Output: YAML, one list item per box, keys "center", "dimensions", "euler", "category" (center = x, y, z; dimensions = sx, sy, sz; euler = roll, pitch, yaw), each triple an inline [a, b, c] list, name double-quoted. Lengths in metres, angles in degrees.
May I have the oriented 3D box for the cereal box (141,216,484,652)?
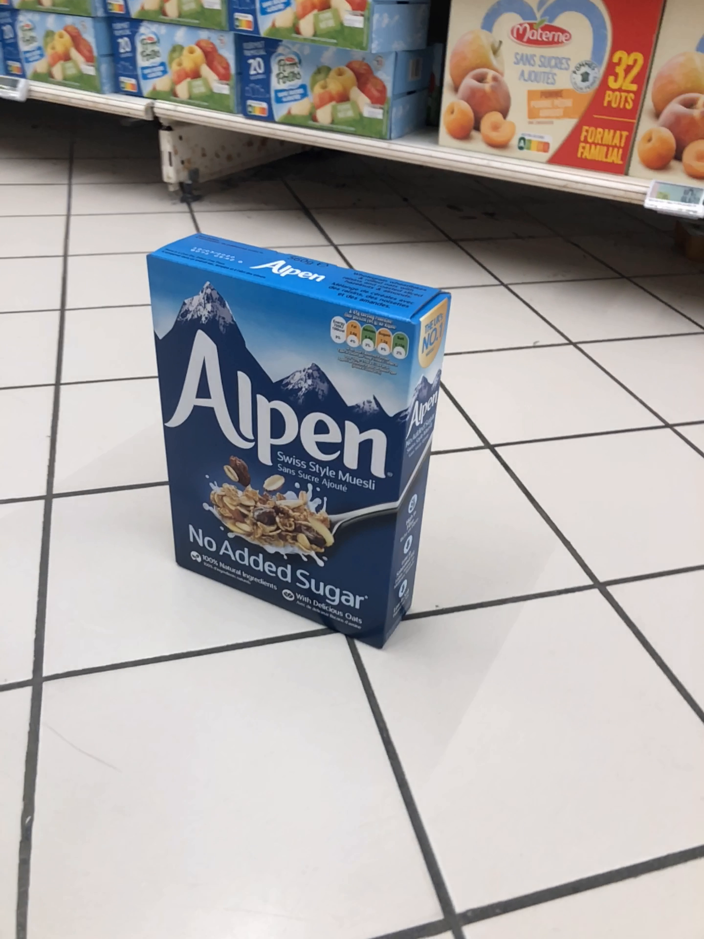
- center: [-0.029, -0.020, 0.483]
  dimensions: [0.180, 0.229, 0.060]
  euler: [18, 36, 21]
  category: "cereal box"
